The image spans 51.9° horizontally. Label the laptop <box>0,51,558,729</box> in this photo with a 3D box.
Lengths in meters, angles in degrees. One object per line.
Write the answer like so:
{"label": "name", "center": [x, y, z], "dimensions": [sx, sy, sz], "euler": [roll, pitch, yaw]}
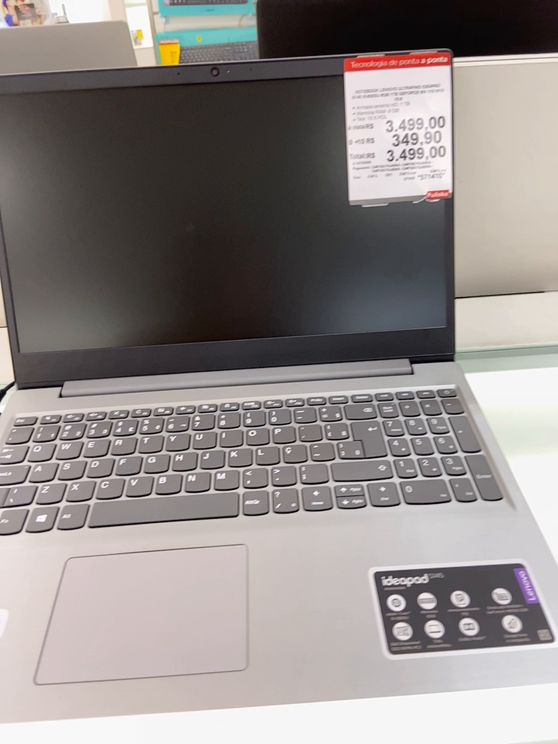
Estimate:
{"label": "laptop", "center": [-0.035, -0.038, 0.351], "dimensions": [0.359, 0.201, 0.368], "euler": [-4, 39, -1]}
